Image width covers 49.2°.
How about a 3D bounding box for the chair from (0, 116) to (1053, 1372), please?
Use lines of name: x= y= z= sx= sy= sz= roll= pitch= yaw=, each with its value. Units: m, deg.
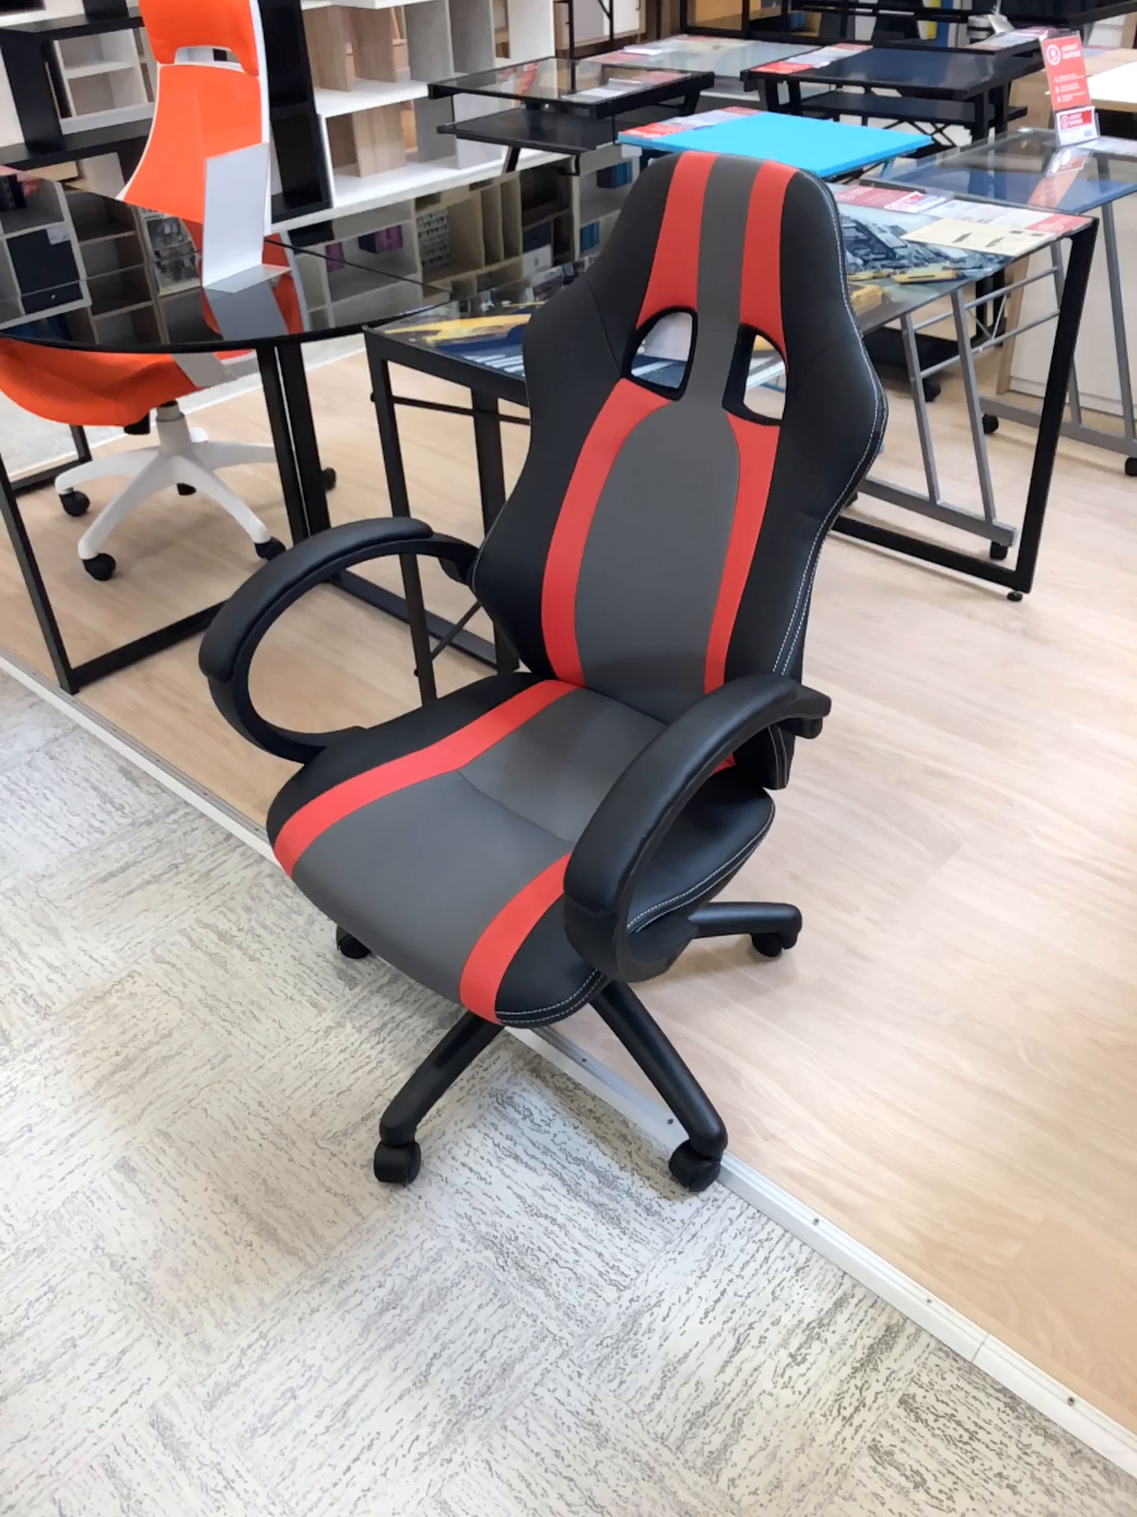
chair: x=-0.062 y=-0.080 z=1.309 sx=0.690 sy=0.925 sz=0.694 roll=28 pitch=46 yaw=36
